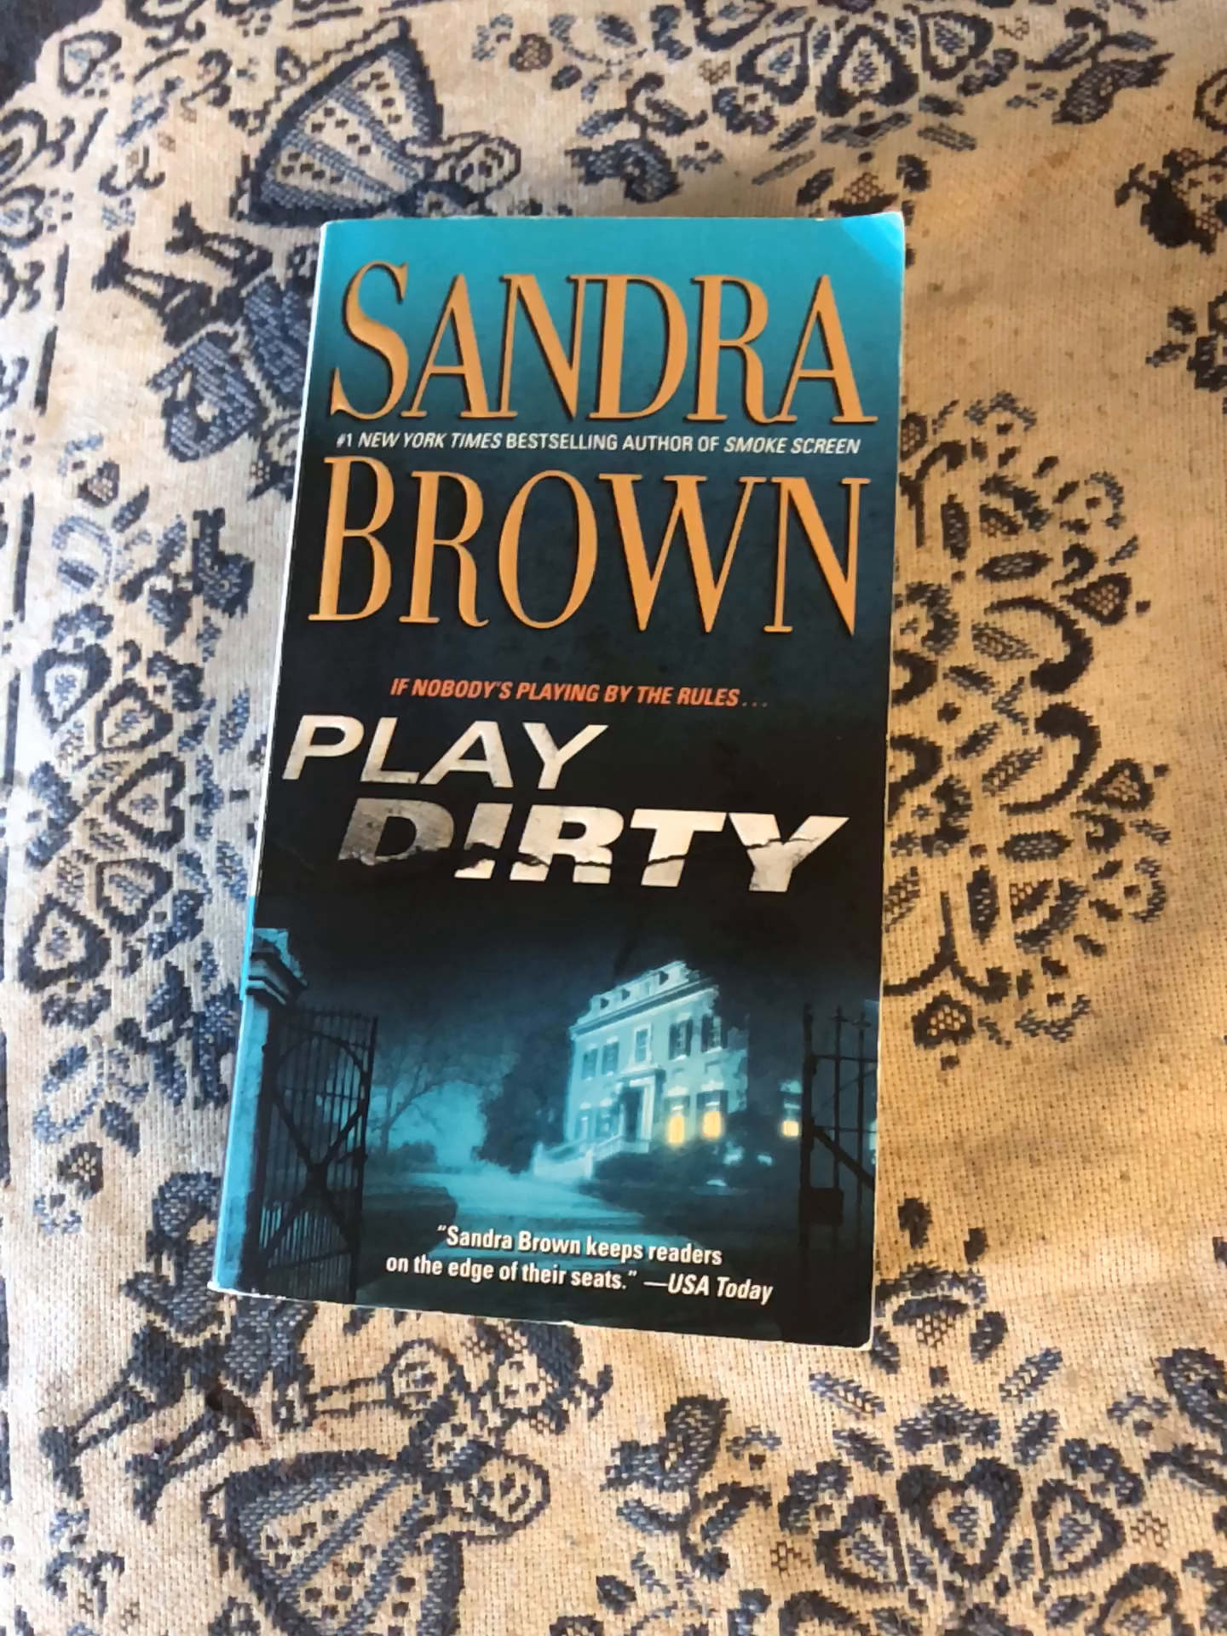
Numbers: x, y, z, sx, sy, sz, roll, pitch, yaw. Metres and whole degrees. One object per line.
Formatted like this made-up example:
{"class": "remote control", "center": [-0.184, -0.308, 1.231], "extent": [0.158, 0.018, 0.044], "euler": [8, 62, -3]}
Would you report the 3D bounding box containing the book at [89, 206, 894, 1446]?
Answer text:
{"class": "book", "center": [-0.014, -0.004, 0.222], "extent": [0.110, 0.040, 0.180], "euler": [2, 81, 7]}
